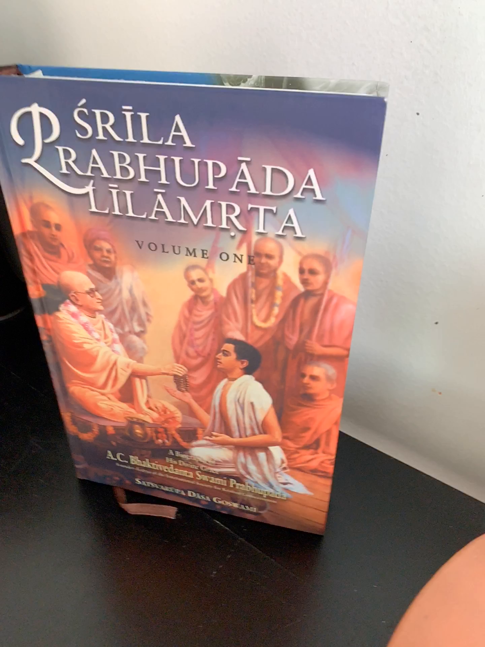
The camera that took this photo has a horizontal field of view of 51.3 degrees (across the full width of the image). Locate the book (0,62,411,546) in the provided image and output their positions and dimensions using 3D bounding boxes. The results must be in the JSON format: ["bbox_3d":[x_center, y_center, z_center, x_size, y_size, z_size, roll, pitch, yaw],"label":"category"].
[{"bbox_3d":[-0.023,0.007,0.250,0.161,0.233,0.030,9,34,13],"label":"book"}]
